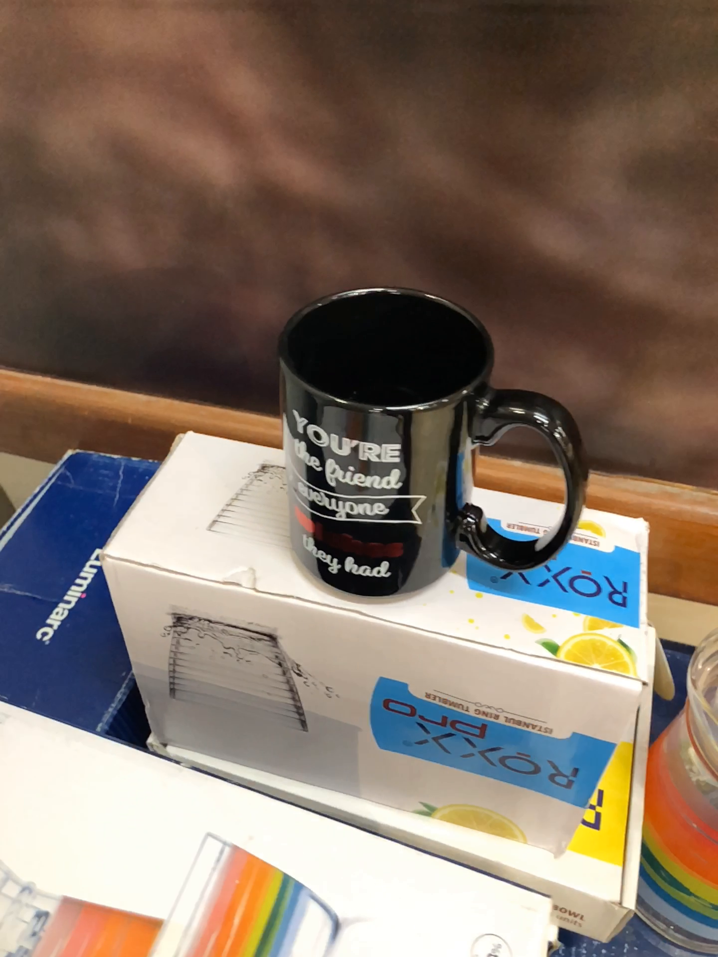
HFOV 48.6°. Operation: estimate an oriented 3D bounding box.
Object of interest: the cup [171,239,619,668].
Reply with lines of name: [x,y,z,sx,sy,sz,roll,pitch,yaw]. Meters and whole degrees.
cup: [0.018,-0.014,0.306,0.130,0.109,0.091,12,42,17]
